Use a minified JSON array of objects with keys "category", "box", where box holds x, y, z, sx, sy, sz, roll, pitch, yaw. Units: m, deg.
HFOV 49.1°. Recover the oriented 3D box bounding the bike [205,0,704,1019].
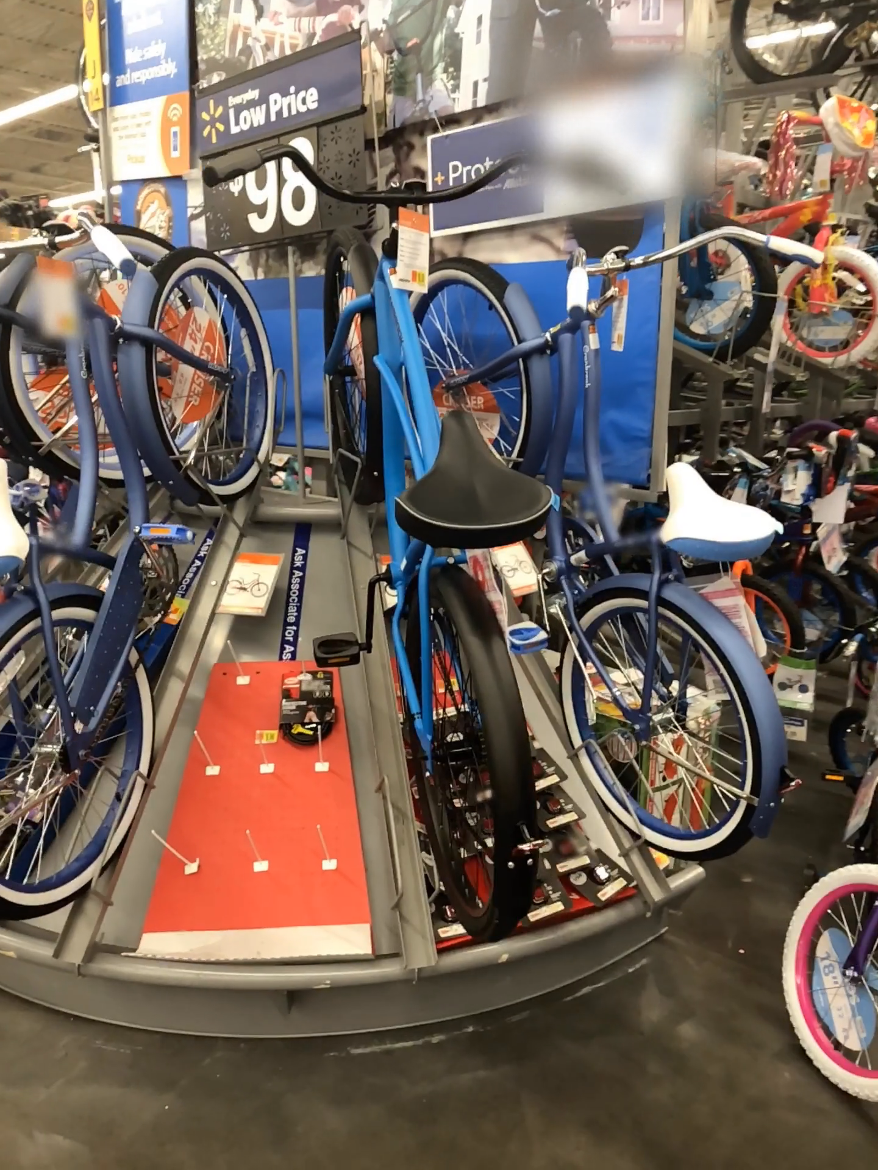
[{"category":"bike","box":[-0.083,-0.625,1.814,0.505,1.120,1.567,-3,39,-19]}]
